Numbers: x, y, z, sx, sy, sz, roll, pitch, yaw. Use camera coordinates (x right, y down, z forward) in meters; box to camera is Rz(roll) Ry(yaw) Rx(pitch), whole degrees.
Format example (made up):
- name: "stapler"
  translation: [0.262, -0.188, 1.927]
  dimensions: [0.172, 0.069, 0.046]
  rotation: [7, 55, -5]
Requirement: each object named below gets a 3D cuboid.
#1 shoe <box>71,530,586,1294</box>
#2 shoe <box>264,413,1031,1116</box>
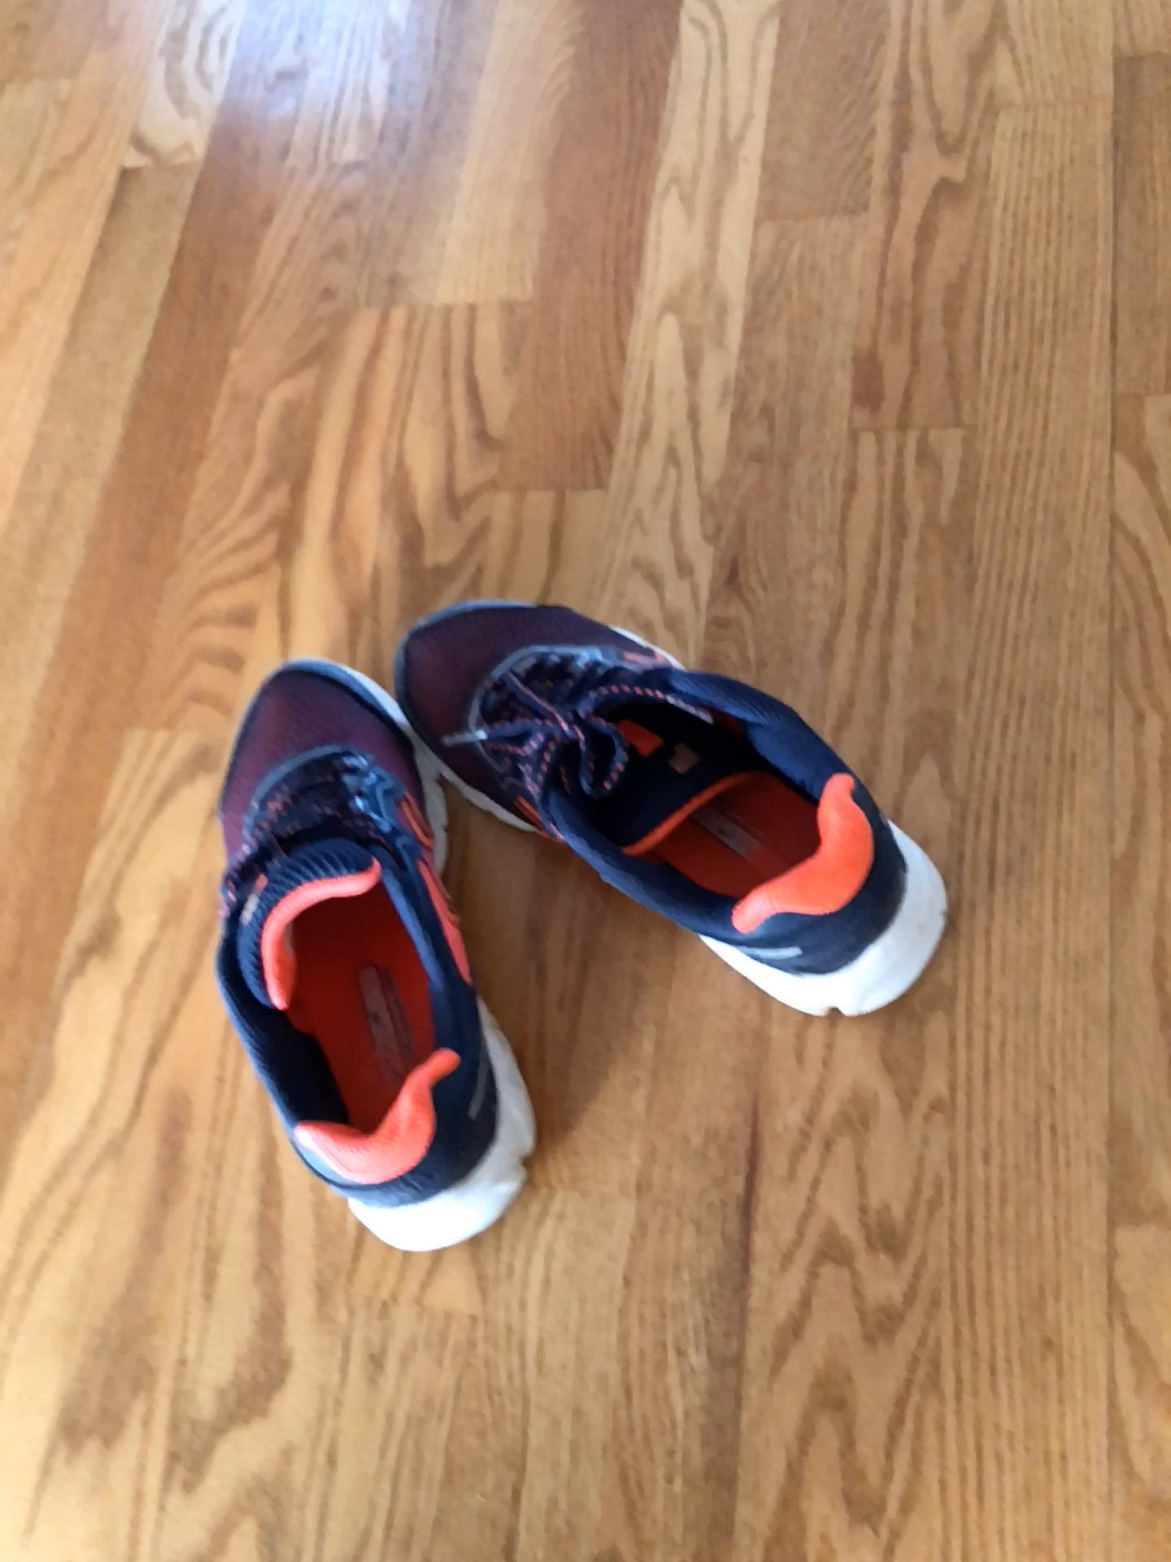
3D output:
- name: "shoe"
  translation: [-0.108, 0.051, 0.527]
  dimensions: [0.108, 0.110, 0.270]
  rotation: [-24, 64, 4]
- name: "shoe"
  translation: [0.020, -0.012, 0.519]
  dimensions: [0.278, 0.110, 0.116]
  rotation: [38, 82, 25]
